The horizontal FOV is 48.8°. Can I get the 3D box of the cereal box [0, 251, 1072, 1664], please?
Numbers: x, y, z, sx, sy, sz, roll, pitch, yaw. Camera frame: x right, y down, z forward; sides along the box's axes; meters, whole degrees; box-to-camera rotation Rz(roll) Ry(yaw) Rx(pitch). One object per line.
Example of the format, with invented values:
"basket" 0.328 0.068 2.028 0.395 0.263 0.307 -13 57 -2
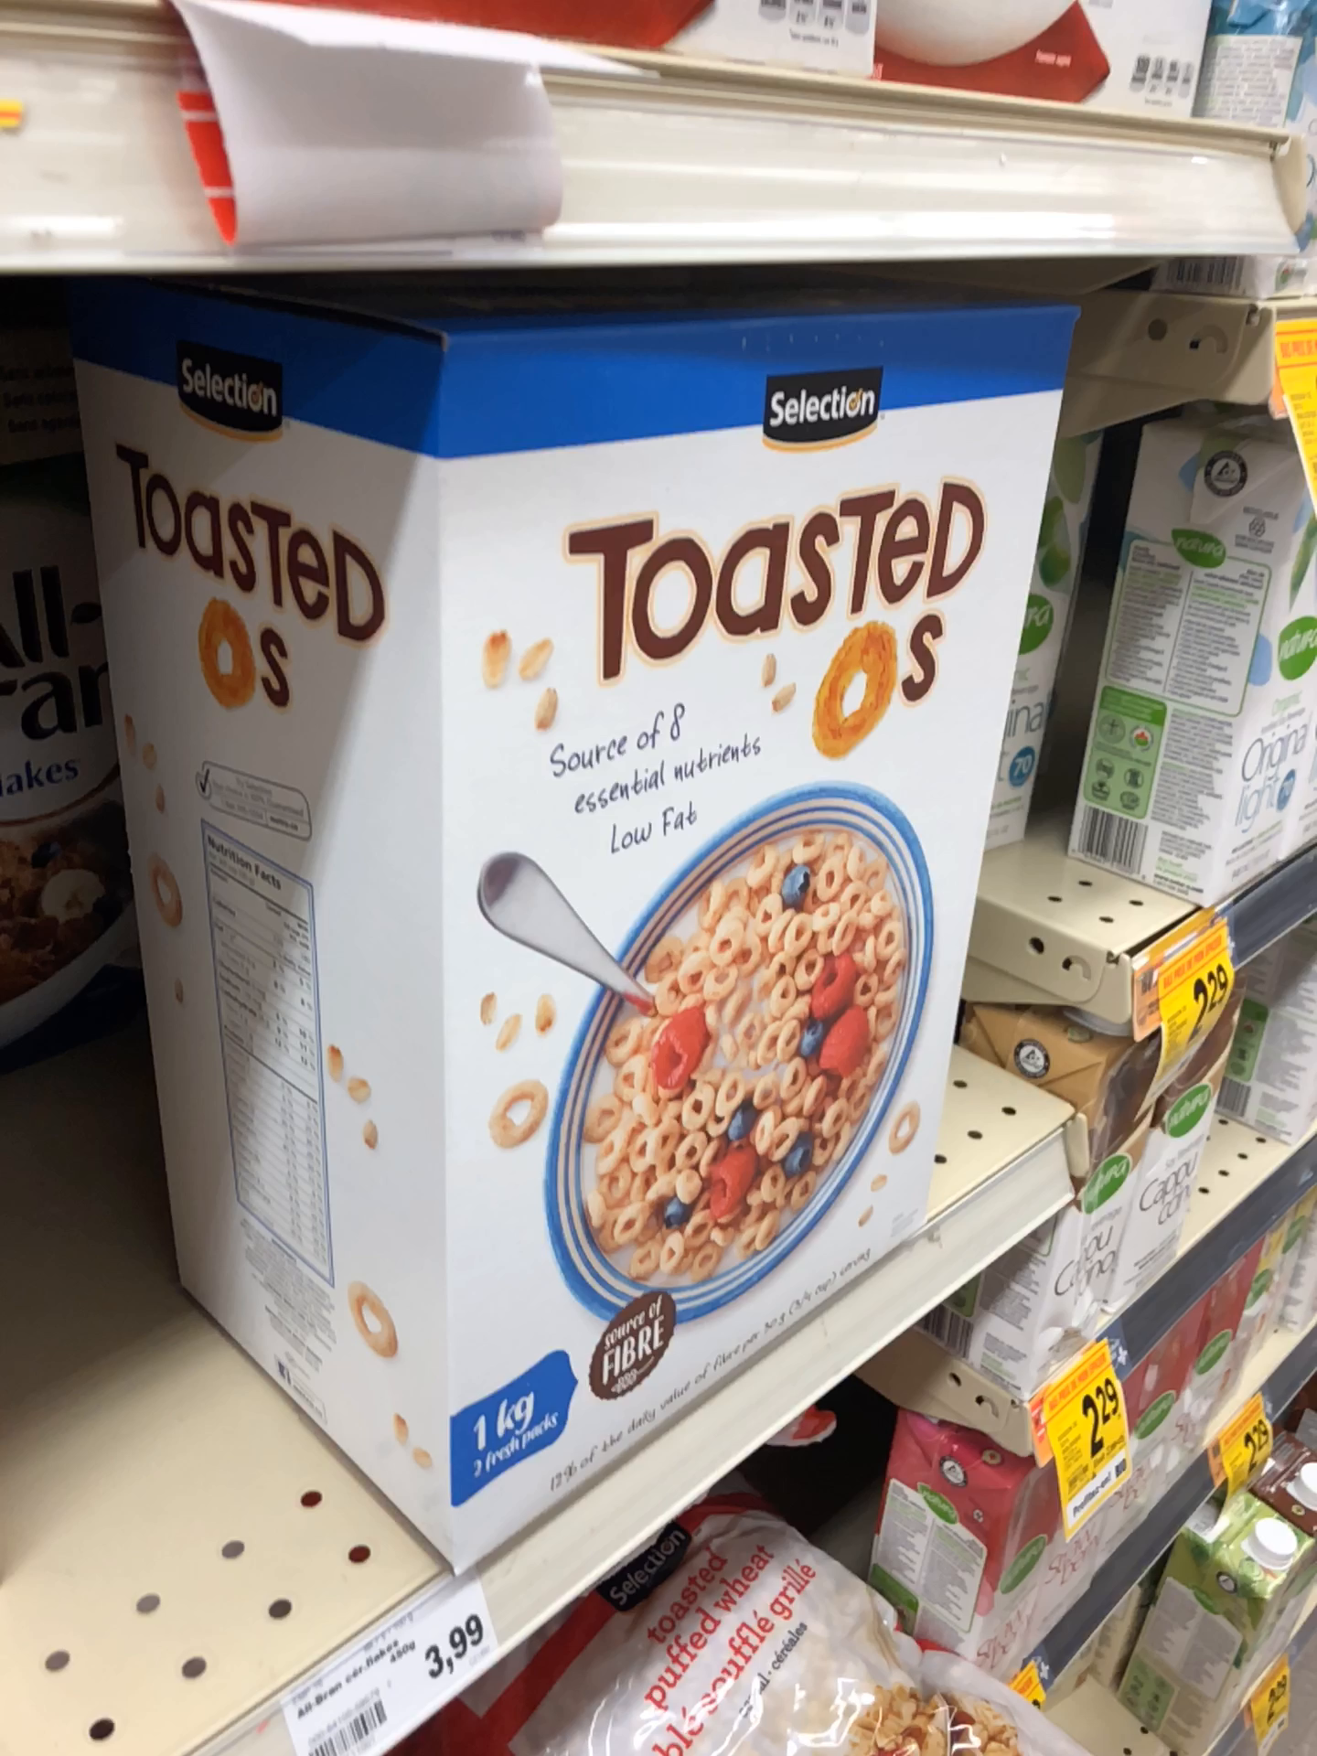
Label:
"cereal box" -0.031 -0.004 0.447 0.161 0.338 0.241 24 33 38
